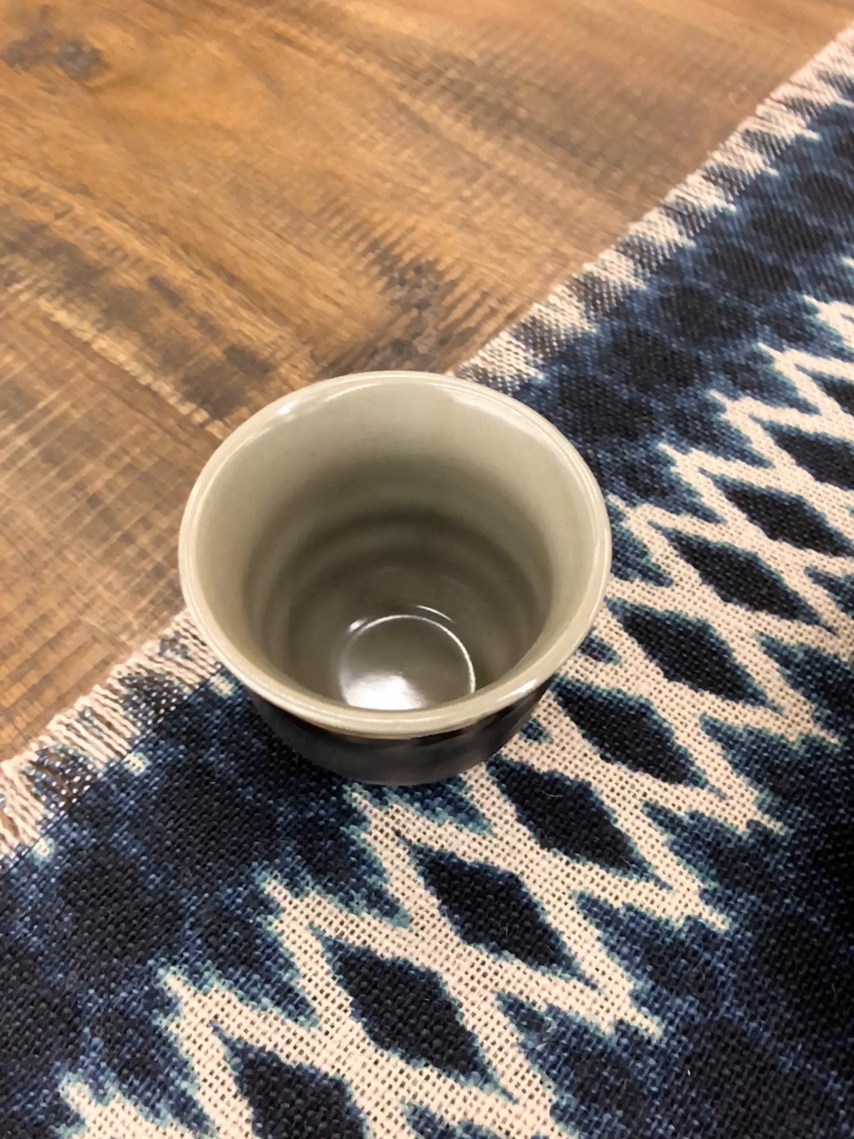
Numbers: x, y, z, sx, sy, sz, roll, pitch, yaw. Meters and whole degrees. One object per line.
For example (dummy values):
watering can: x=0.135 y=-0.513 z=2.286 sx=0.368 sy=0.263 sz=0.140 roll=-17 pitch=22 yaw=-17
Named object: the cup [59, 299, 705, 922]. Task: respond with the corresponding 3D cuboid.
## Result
cup: x=-0.008 y=0.005 z=0.190 sx=0.078 sy=0.048 sz=0.085 roll=-1 pitch=58 yaw=2
